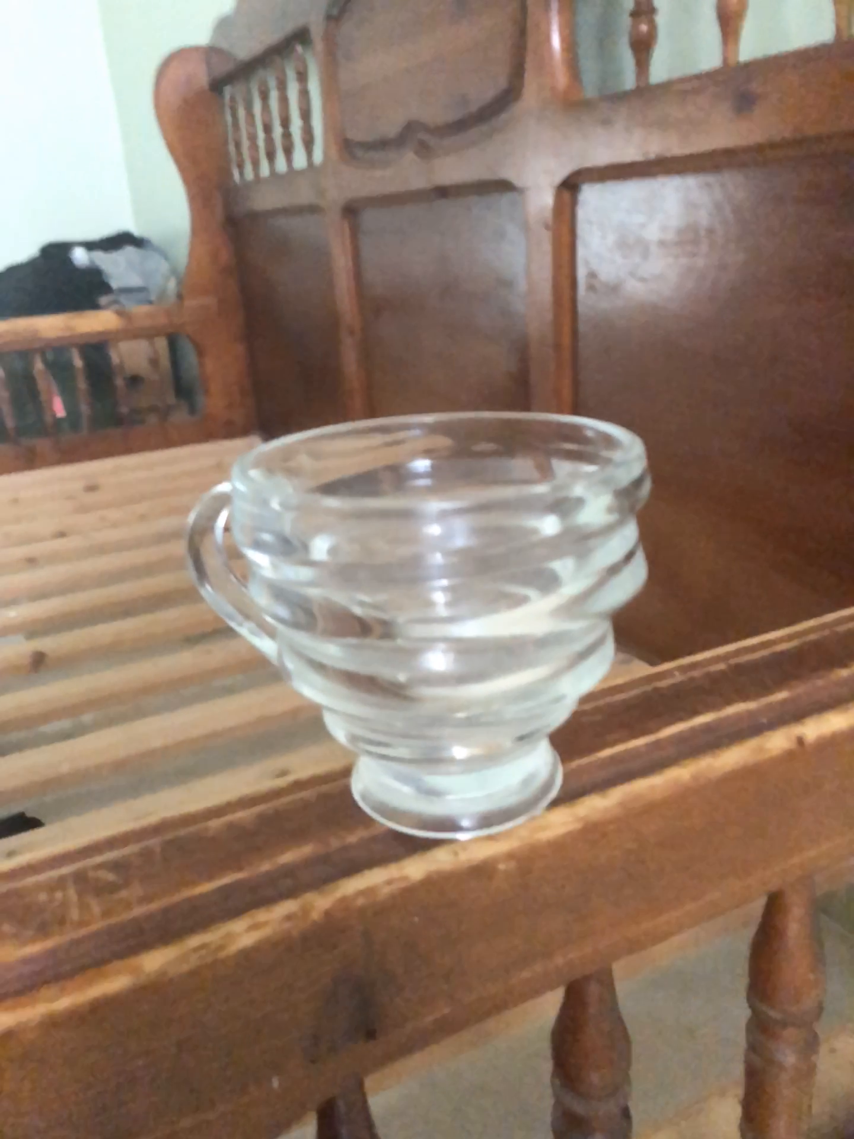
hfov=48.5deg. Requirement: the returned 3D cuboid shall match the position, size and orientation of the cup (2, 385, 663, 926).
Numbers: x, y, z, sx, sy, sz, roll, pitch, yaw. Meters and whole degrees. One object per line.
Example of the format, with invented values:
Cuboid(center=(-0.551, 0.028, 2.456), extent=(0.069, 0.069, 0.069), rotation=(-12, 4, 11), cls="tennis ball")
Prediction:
Cuboid(center=(-0.018, 0.003, 0.194), extent=(0.106, 0.065, 0.076), rotation=(12, 25, 38), cls="cup")
